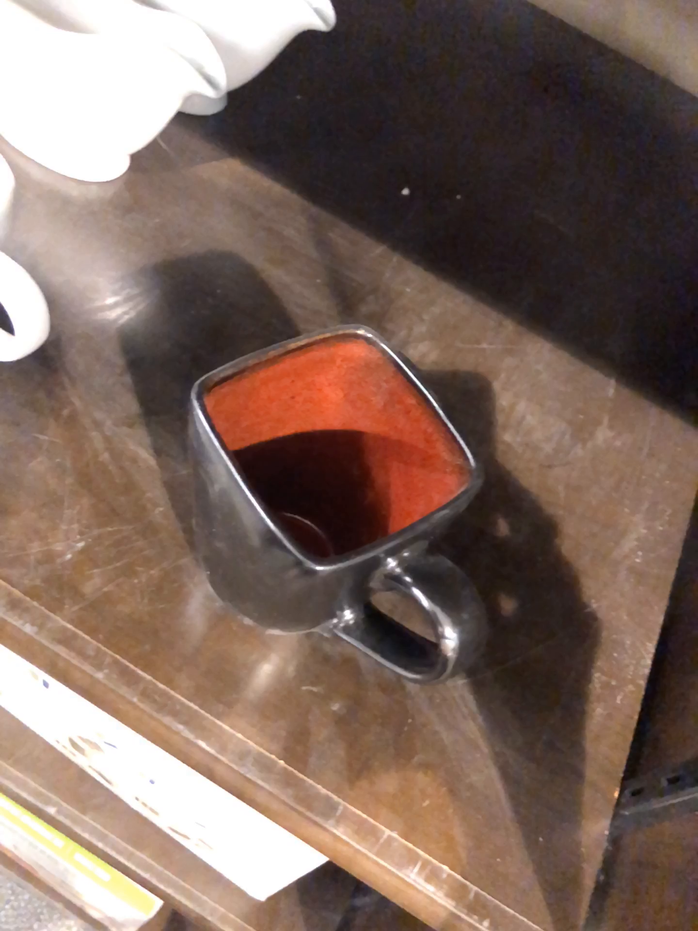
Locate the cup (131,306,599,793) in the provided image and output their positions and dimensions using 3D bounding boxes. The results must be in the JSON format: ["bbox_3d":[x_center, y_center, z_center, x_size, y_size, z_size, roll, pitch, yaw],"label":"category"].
[{"bbox_3d":[-0.002,0.026,0.278,0.095,0.083,0.123,-24,67,-32],"label":"cup"}]
